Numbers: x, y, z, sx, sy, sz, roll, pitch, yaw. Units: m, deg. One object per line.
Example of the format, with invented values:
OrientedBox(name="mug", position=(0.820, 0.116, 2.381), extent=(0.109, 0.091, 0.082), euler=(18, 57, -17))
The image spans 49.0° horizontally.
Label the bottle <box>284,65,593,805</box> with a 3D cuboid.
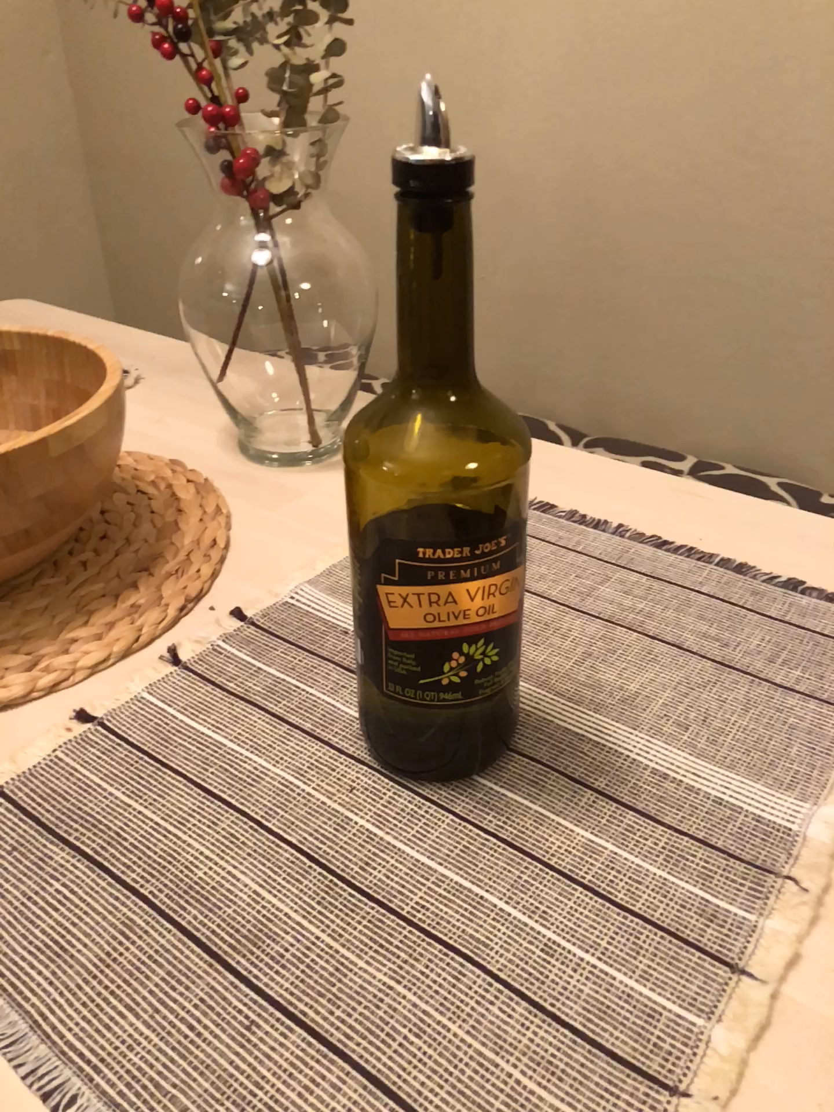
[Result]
OrientedBox(name="bottle", position=(0.006, -0.042, 0.406), extent=(0.091, 0.304, 0.095), euler=(-1, 30, 1))
